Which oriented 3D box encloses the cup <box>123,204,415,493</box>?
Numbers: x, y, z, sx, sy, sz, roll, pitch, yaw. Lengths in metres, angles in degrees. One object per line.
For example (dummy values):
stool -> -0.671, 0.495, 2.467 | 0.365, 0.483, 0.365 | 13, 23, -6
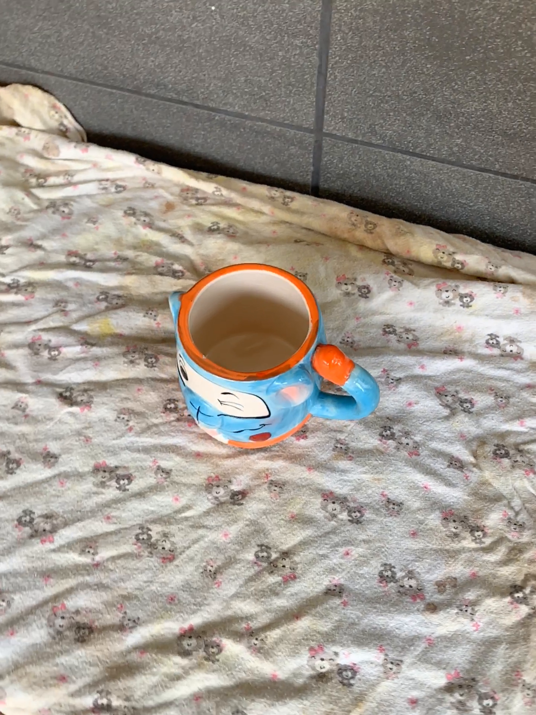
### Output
cup -> 0.003, -0.004, 0.301 | 0.110, 0.090, 0.090 | 22, 62, 14
